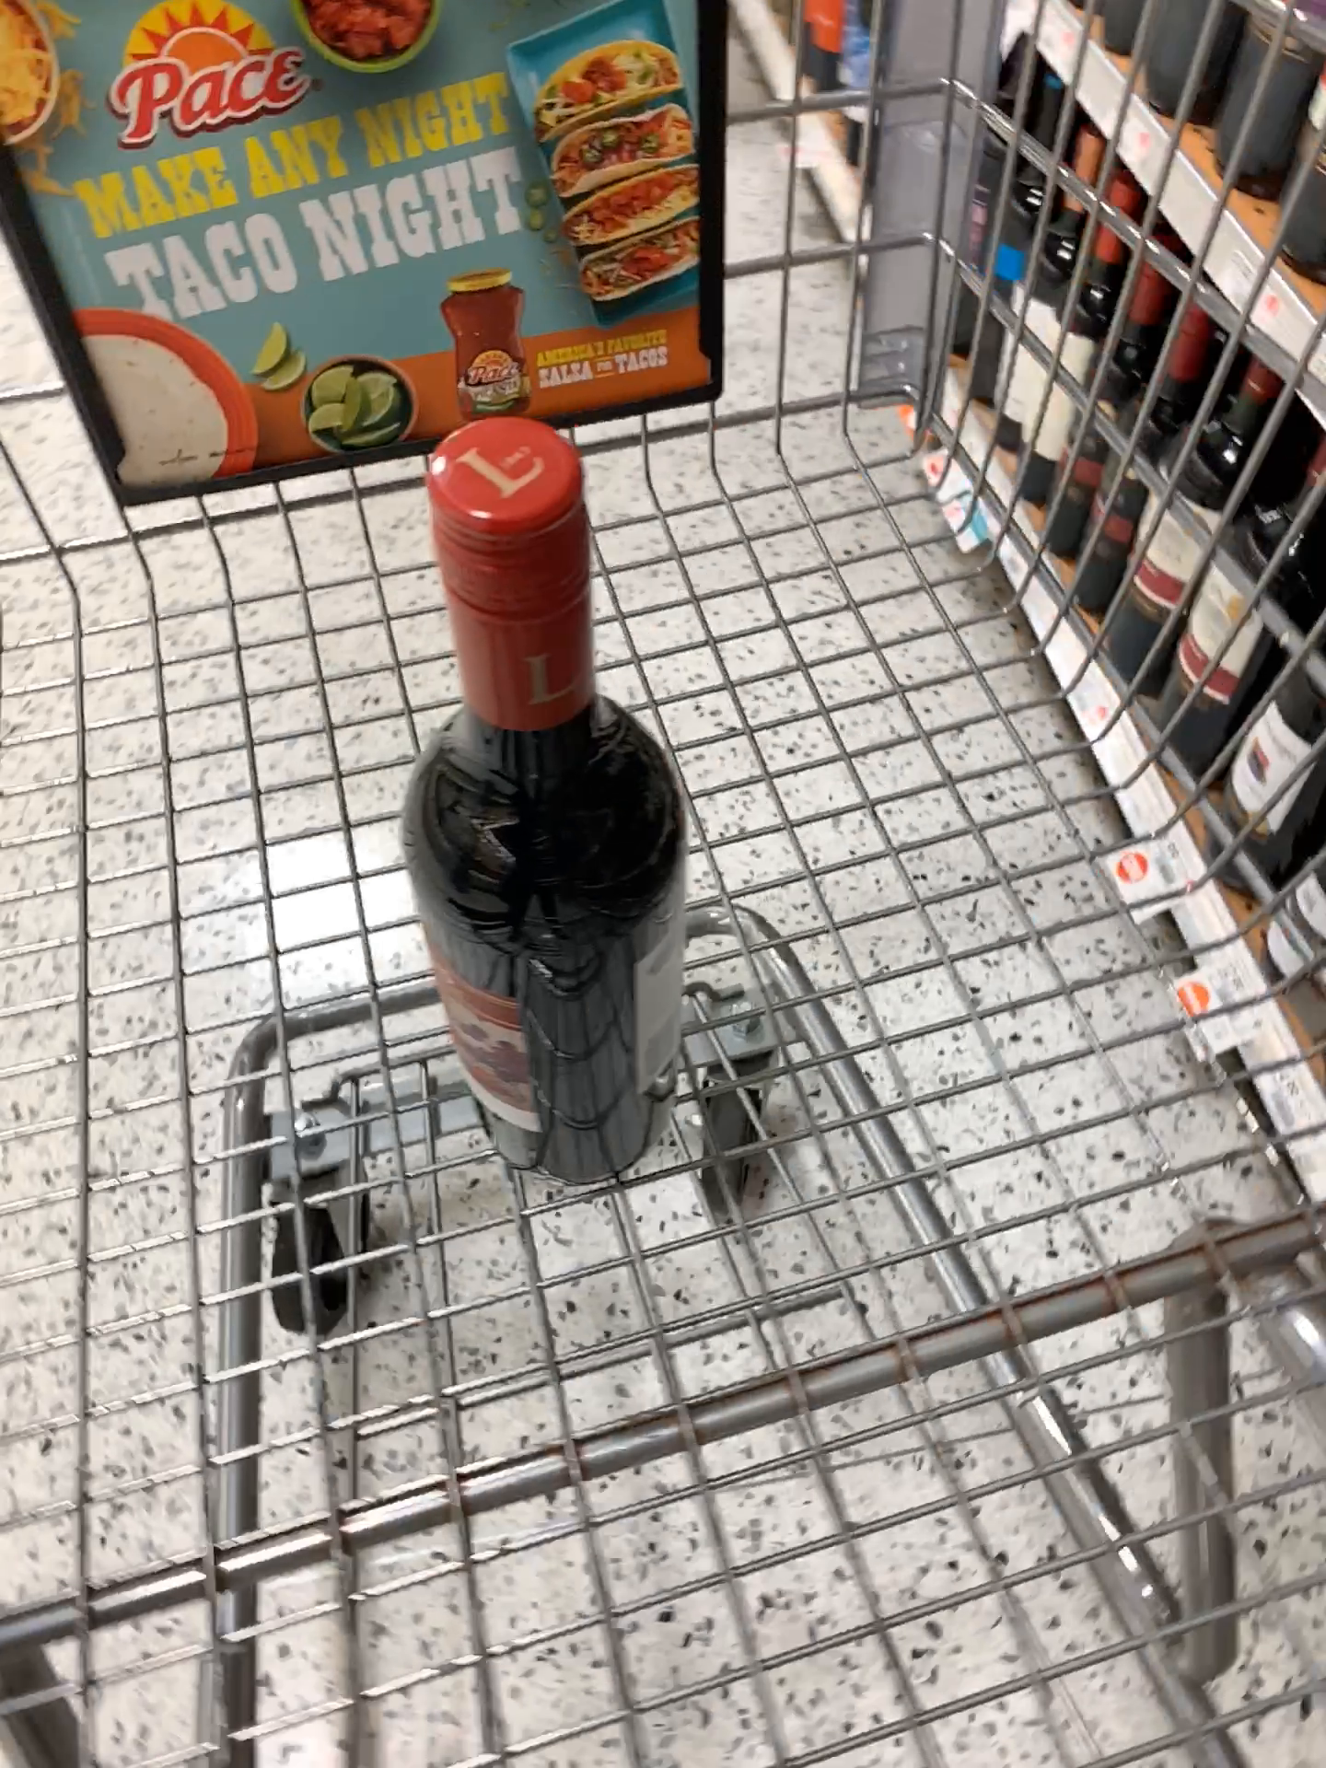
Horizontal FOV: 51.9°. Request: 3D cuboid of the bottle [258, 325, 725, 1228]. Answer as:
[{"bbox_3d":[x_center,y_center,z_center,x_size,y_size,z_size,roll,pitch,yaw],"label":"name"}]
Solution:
[{"bbox_3d":[-0.035,0.001,0.385,0.080,0.288,0.091,-9,58,-5],"label":"bottle"}]
